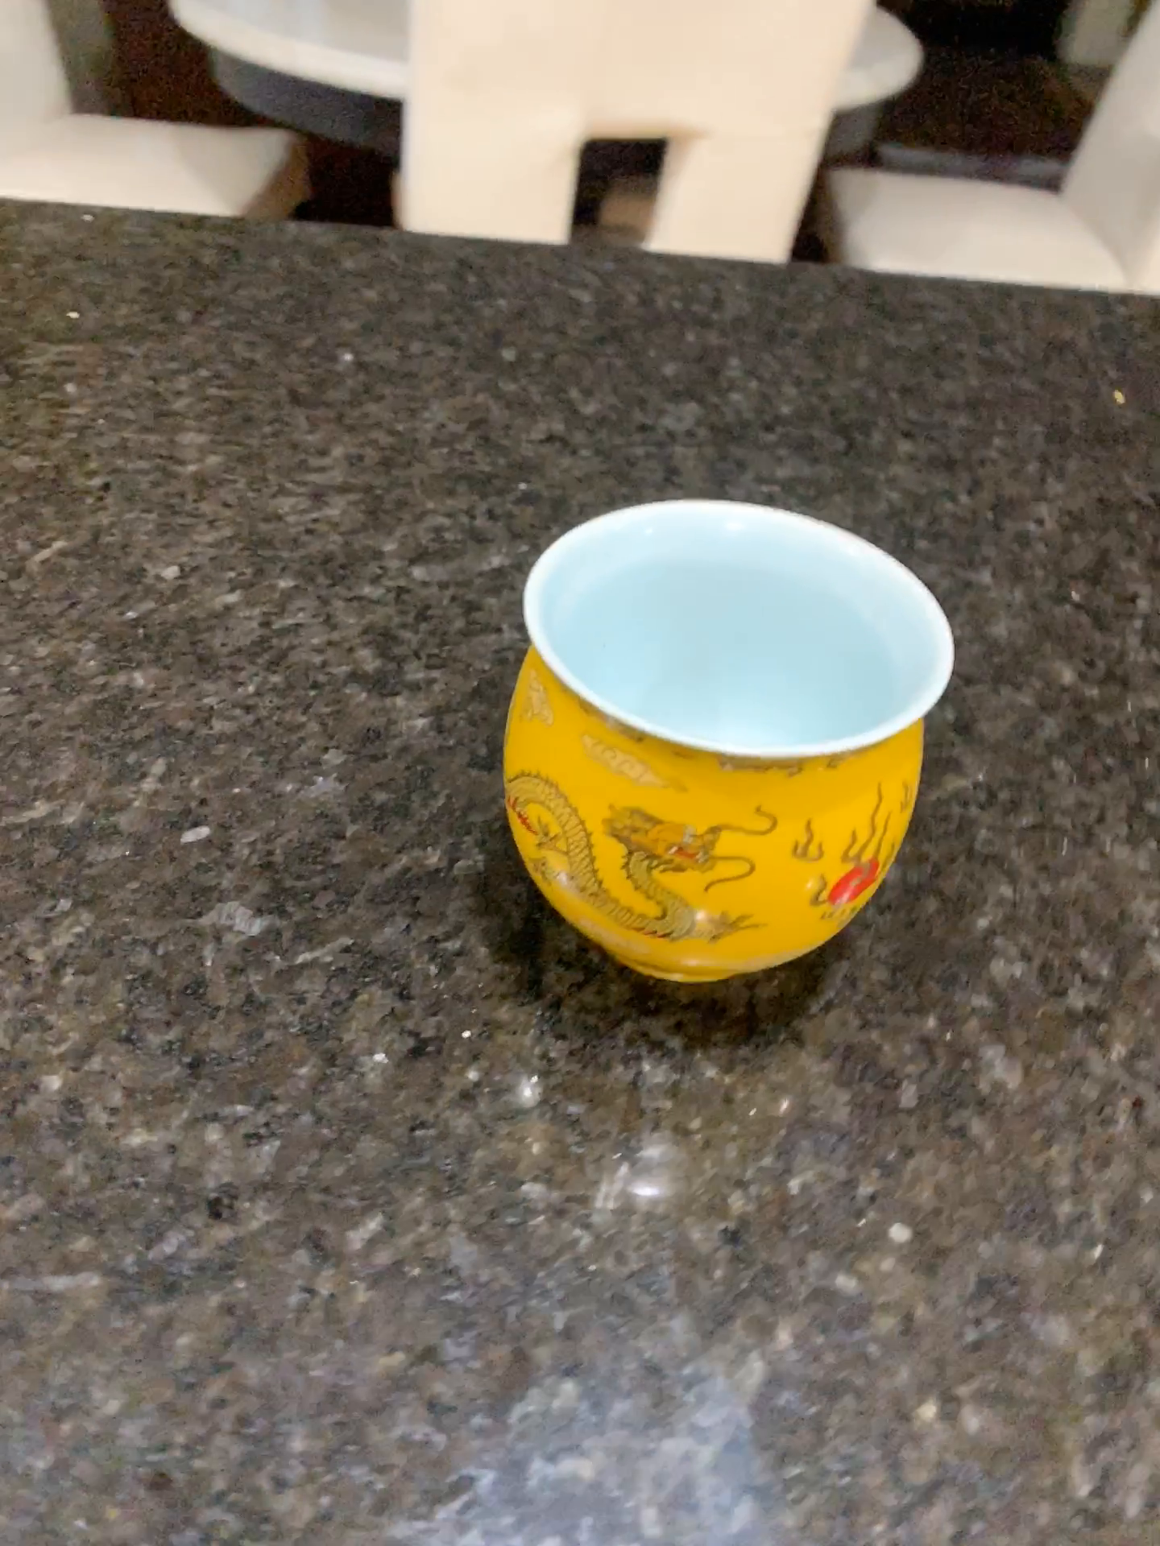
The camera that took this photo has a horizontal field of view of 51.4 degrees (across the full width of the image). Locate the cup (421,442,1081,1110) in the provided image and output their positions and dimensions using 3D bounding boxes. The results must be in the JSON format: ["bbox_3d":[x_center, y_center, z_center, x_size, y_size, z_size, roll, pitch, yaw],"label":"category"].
[{"bbox_3d":[0.022,-0.004,0.208,0.072,0.066,0.076,3,41,-3],"label":"cup"}]
